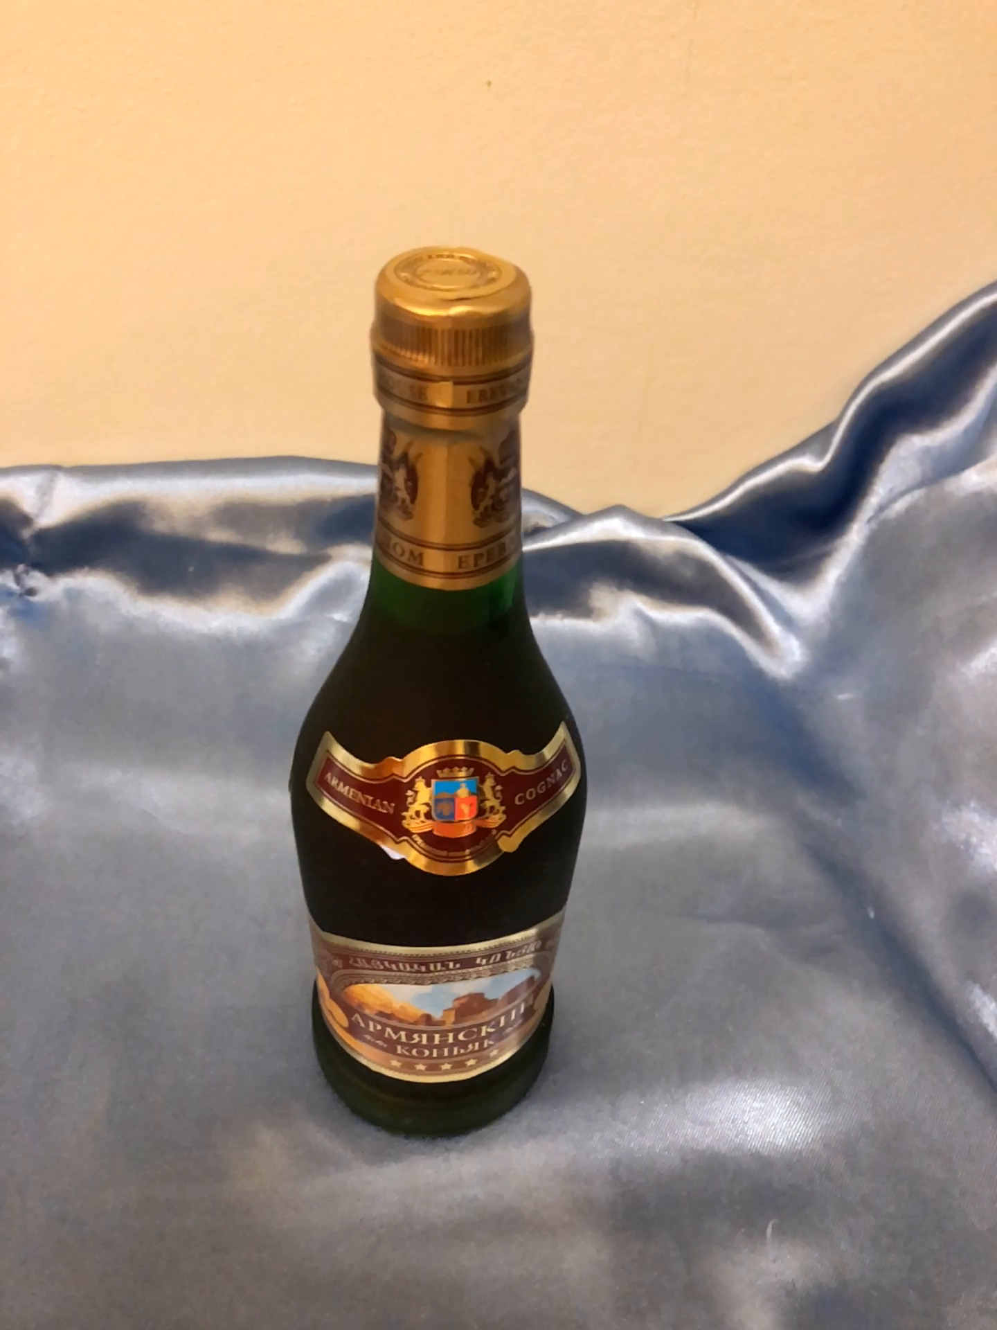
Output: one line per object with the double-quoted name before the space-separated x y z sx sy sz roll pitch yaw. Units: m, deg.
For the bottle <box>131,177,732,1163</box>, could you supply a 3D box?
"bottle" -0.016 0.027 0.260 0.080 0.247 0.074 1 46 -1
